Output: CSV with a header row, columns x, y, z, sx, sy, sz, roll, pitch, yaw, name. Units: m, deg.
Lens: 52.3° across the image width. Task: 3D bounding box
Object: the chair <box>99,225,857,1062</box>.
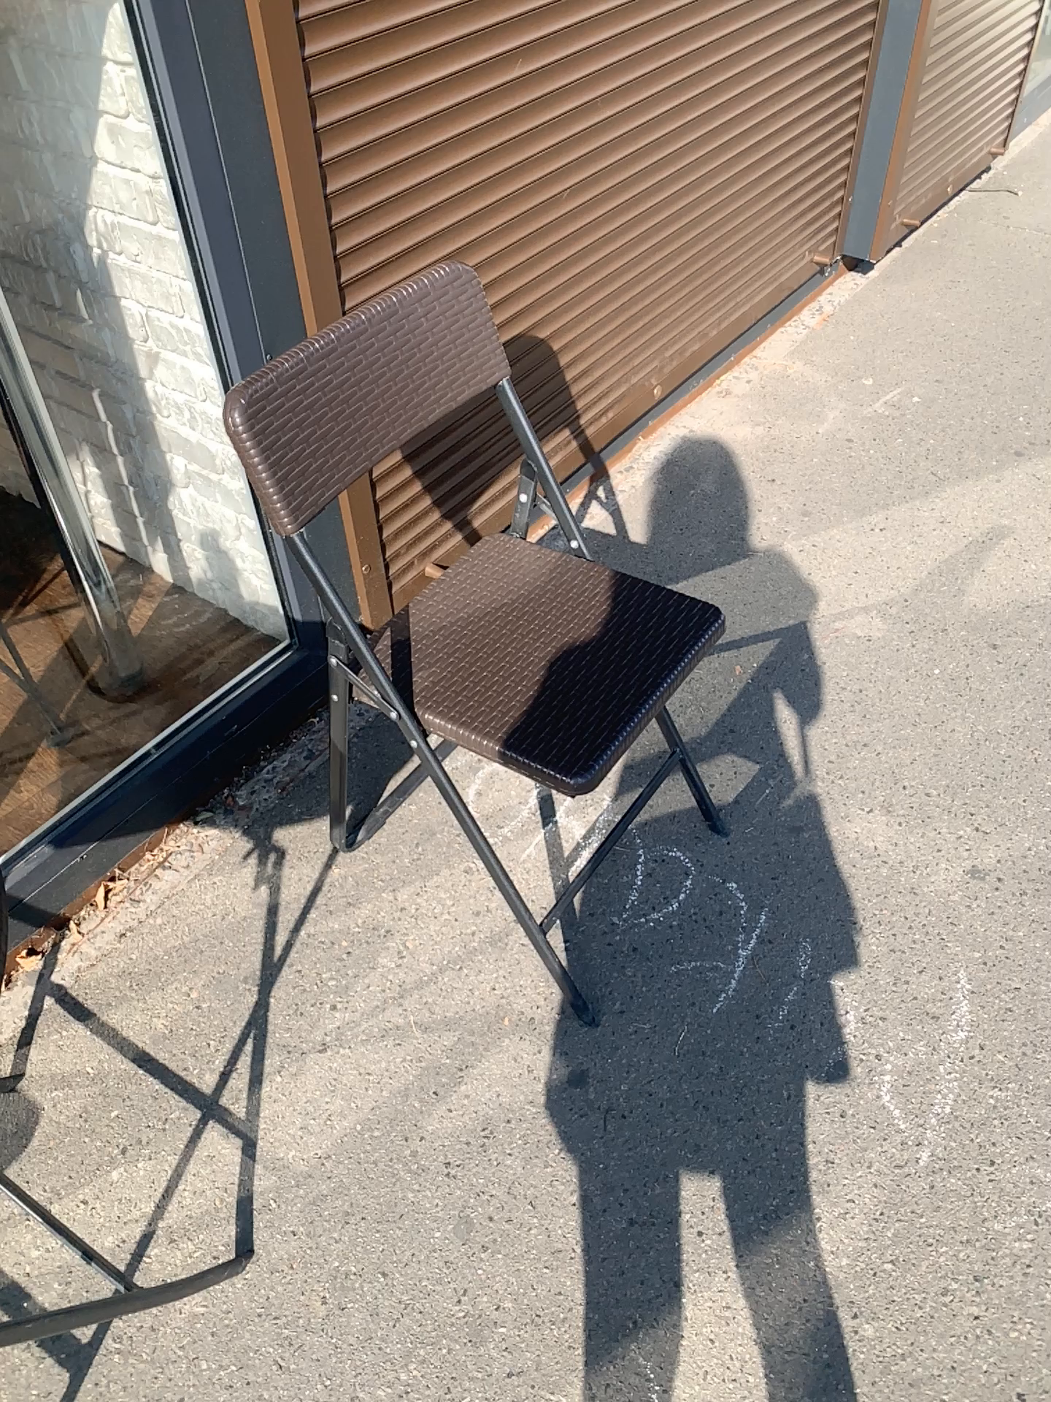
x,y,z,sx,sy,sz,roll,pitch,yaw,name
-0.034,-0.073,1.361,0.611,0.767,0.481,25,51,25,chair
